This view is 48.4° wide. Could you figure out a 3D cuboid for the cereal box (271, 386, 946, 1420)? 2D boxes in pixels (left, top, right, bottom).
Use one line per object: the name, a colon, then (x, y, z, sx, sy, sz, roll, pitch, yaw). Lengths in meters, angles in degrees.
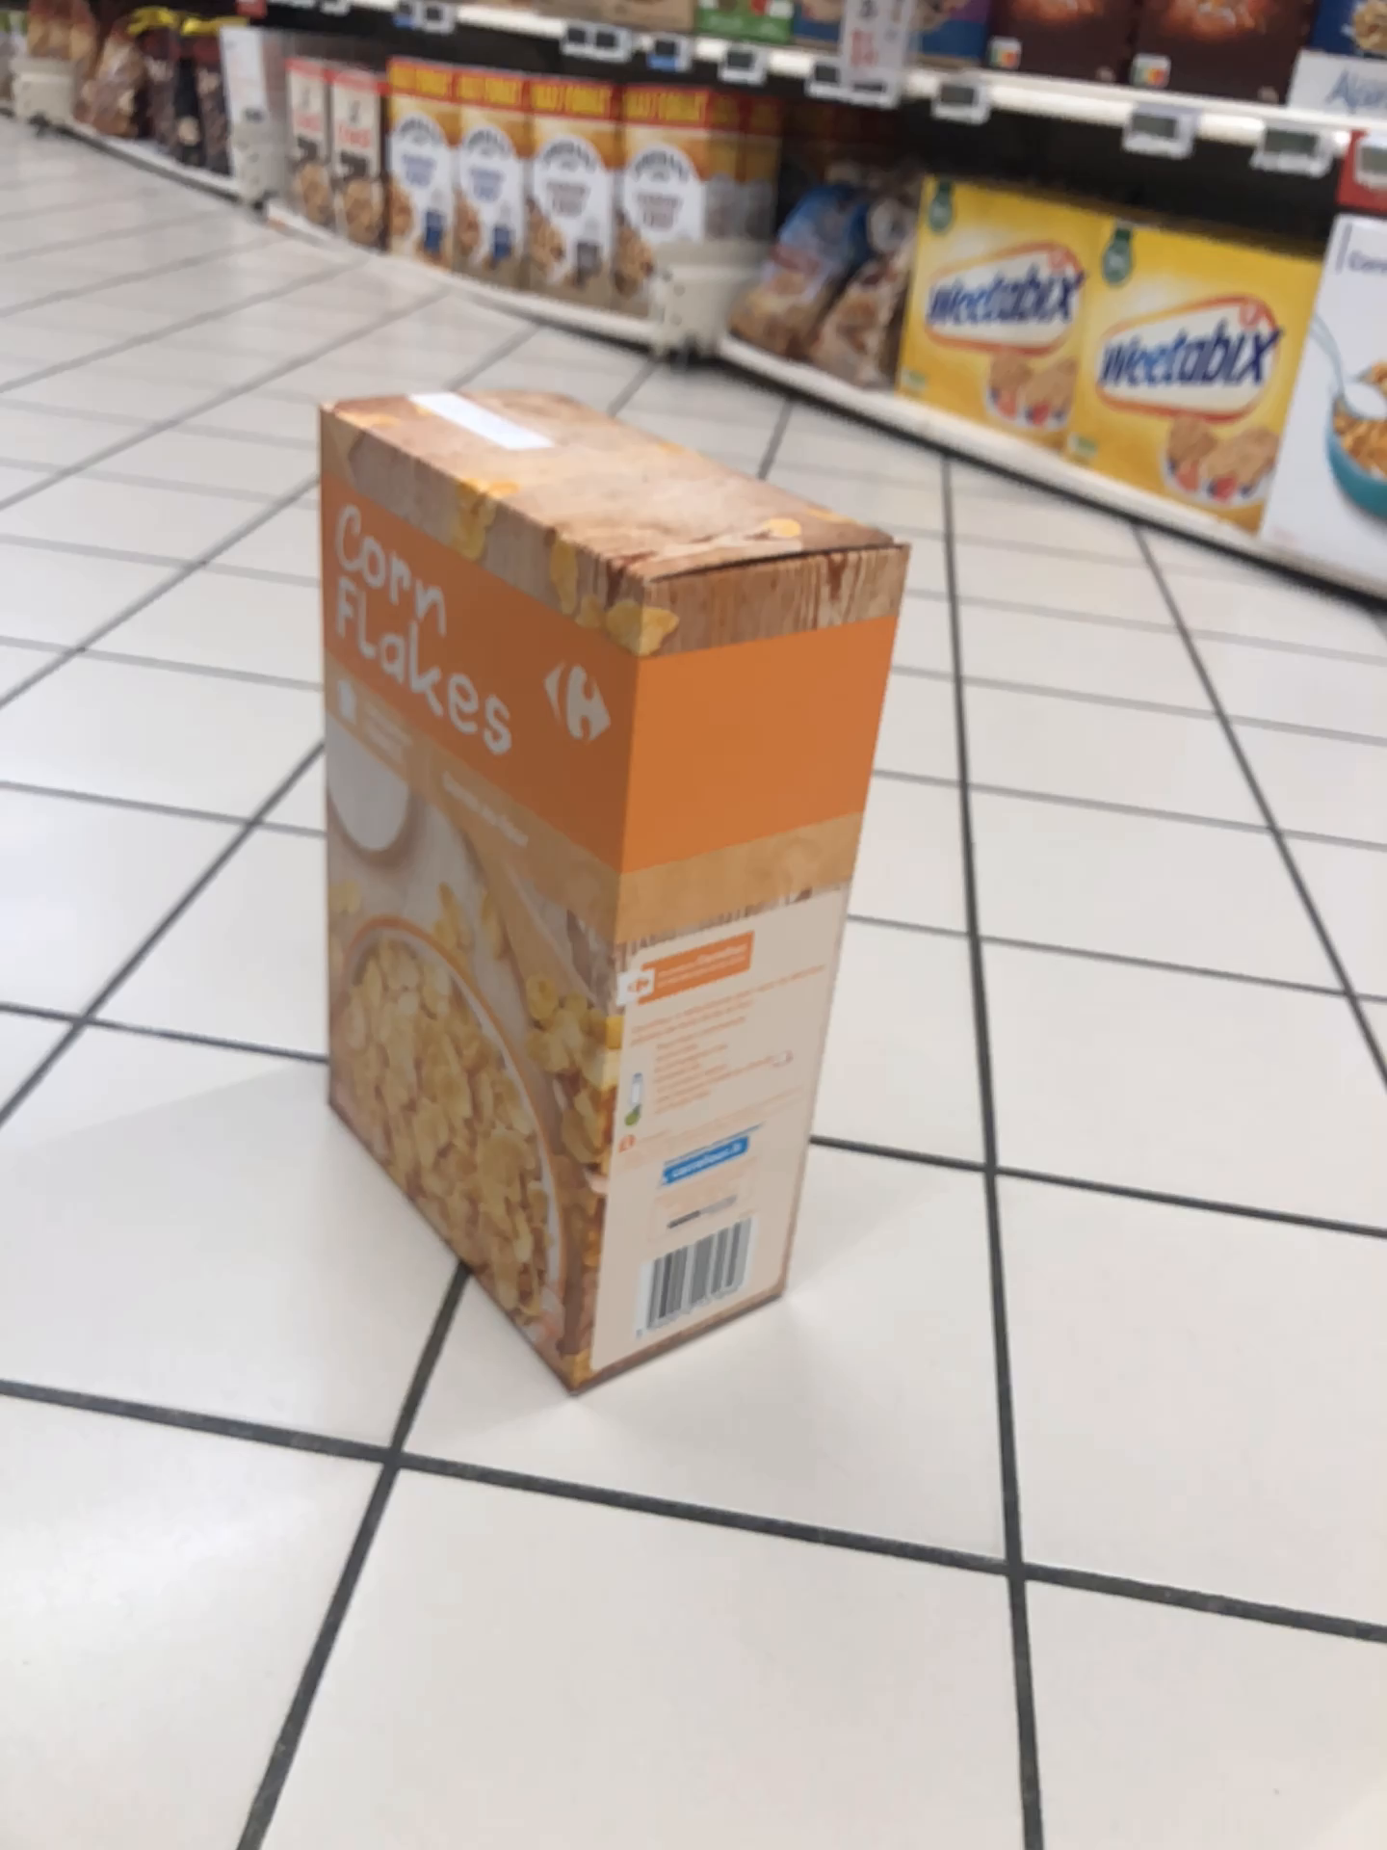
cereal box: (-0.048, -0.018, 0.531, 0.111, 0.278, 0.200, -15, 36, -35)
